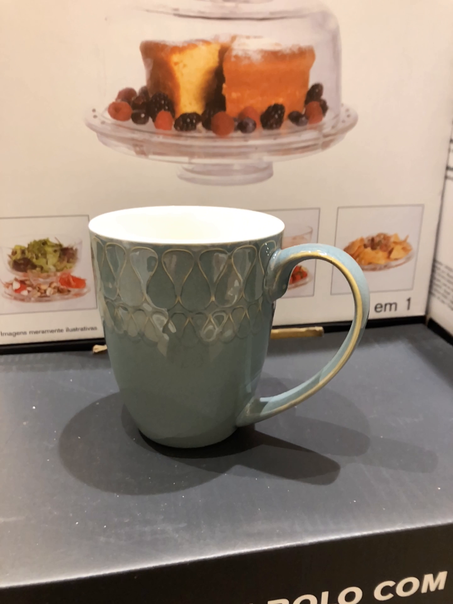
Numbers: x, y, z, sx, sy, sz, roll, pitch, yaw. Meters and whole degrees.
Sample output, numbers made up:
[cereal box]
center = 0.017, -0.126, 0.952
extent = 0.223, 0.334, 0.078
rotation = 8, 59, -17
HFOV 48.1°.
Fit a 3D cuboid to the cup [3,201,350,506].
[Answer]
[cup]
center = -0.014, 0.013, 0.243
extent = 0.130, 0.099, 0.091
rotation = 6, 22, 13
